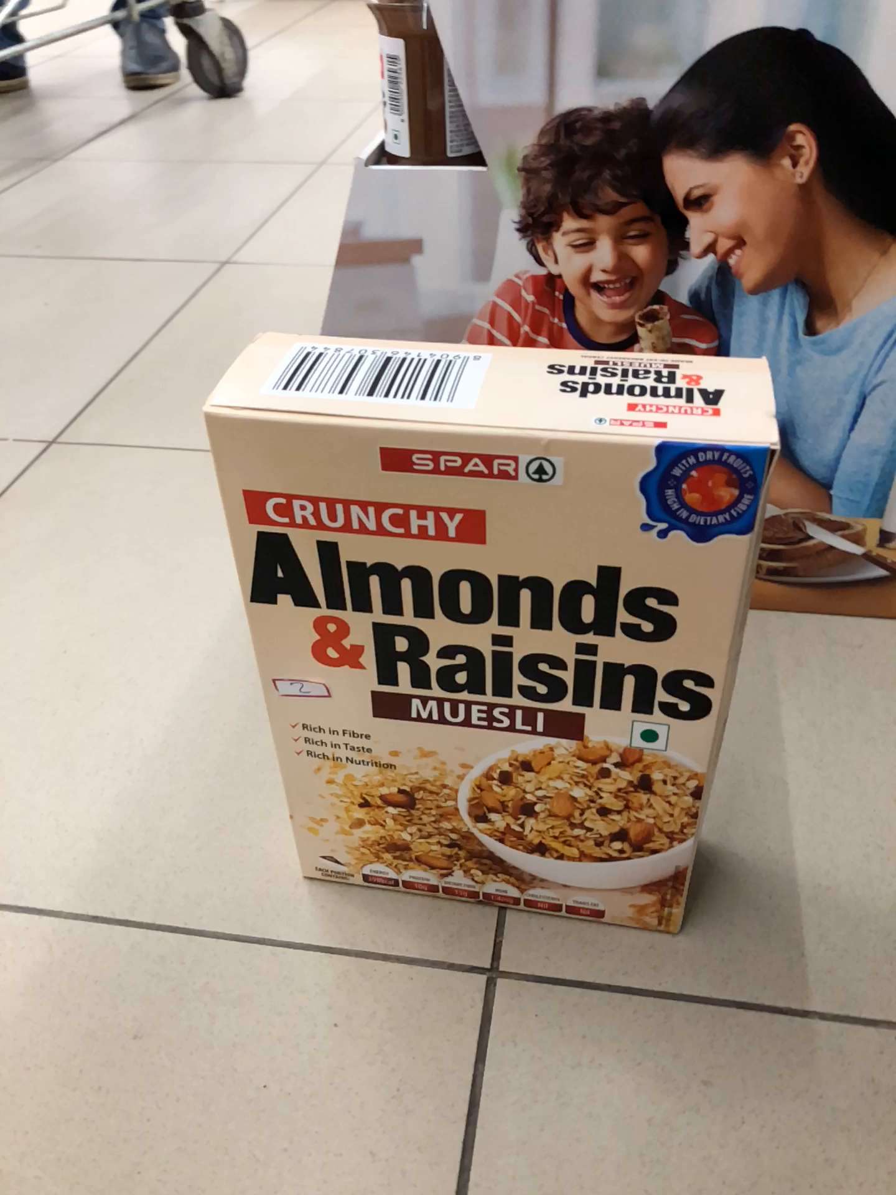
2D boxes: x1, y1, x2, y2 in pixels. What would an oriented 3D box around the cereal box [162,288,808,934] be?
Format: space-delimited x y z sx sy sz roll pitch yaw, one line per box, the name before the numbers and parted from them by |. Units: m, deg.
cereal box | 0.015 0.016 0.368 0.180 0.238 0.060 5 38 10
